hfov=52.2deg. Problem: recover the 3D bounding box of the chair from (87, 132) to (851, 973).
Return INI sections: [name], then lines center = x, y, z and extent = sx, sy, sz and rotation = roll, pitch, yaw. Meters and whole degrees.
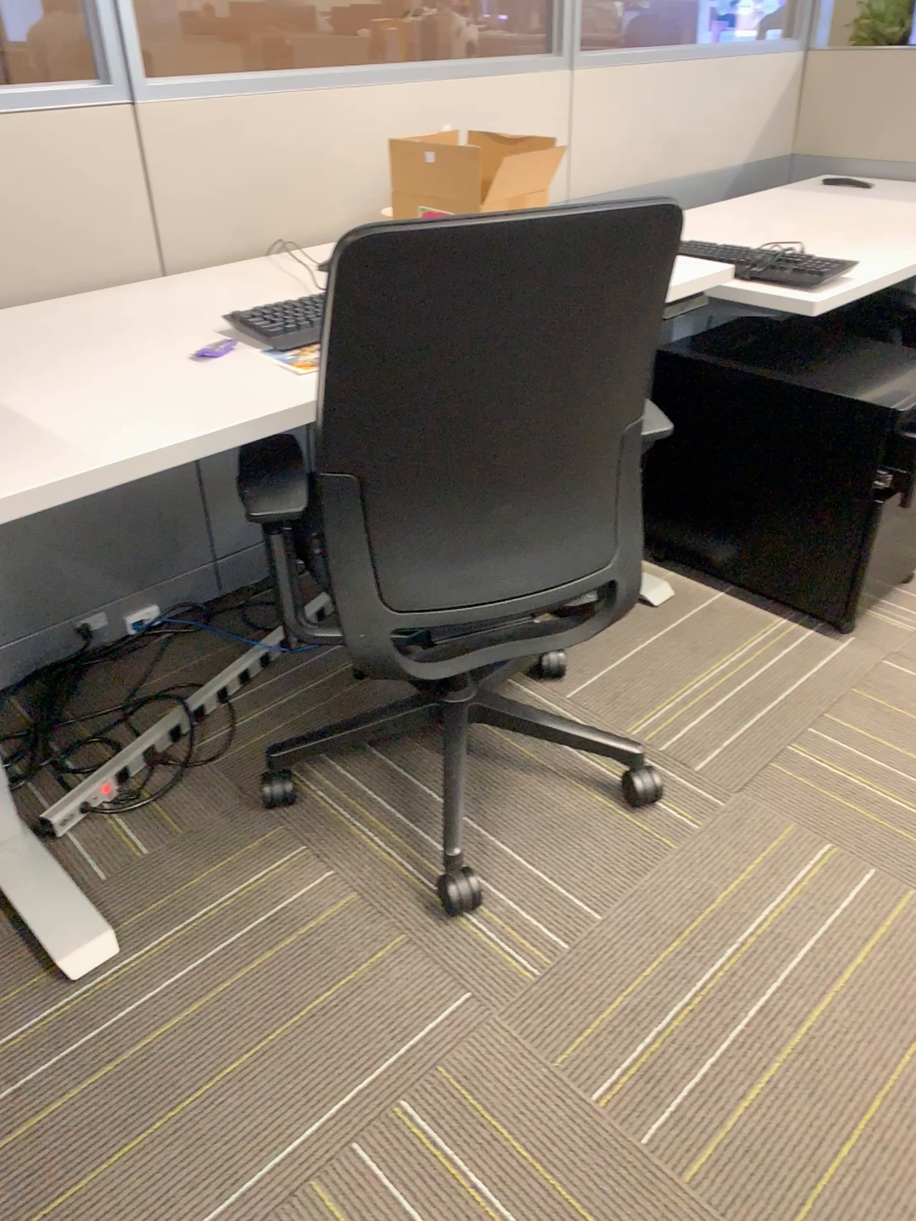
[chair]
center = -0.026, -0.173, 1.458
extent = 0.700, 0.934, 0.754
rotation = -19, 36, -26
